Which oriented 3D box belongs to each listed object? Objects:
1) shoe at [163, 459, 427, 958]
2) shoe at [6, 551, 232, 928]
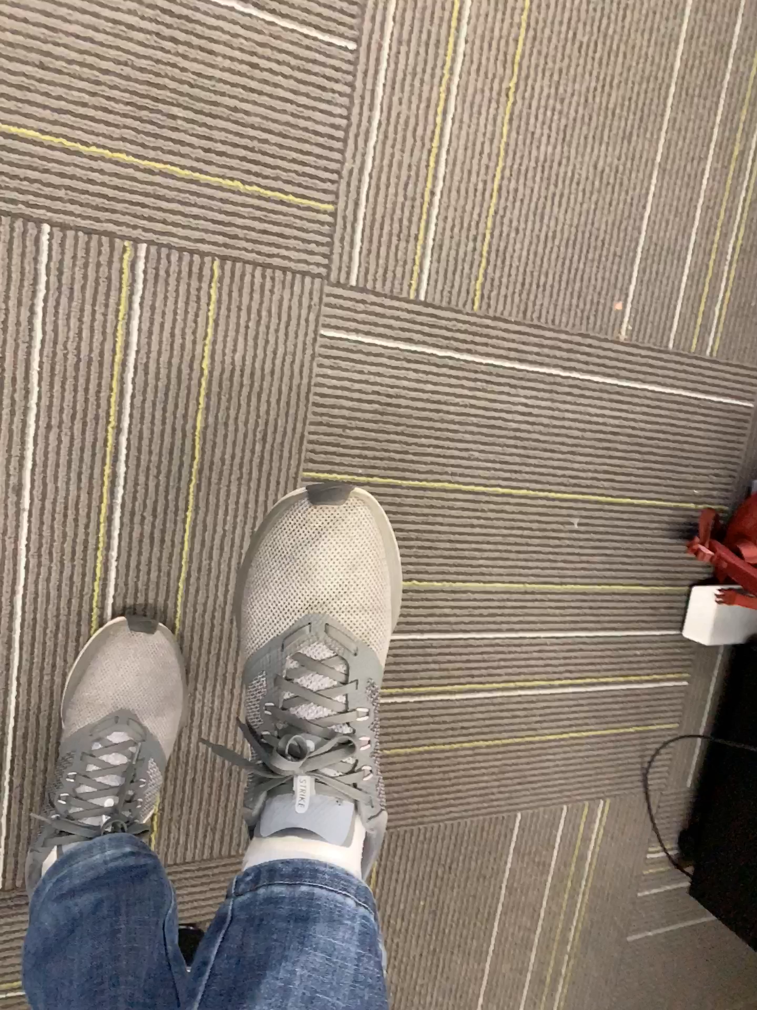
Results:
[{"bbox_3d":[-0.042,0.128,0.517,0.126,0.115,0.298,-2,102,7],"label":"shoe"},{"bbox_3d":[-0.274,0.230,0.793,0.124,0.179,0.310,15,96,-27],"label":"shoe"}]
